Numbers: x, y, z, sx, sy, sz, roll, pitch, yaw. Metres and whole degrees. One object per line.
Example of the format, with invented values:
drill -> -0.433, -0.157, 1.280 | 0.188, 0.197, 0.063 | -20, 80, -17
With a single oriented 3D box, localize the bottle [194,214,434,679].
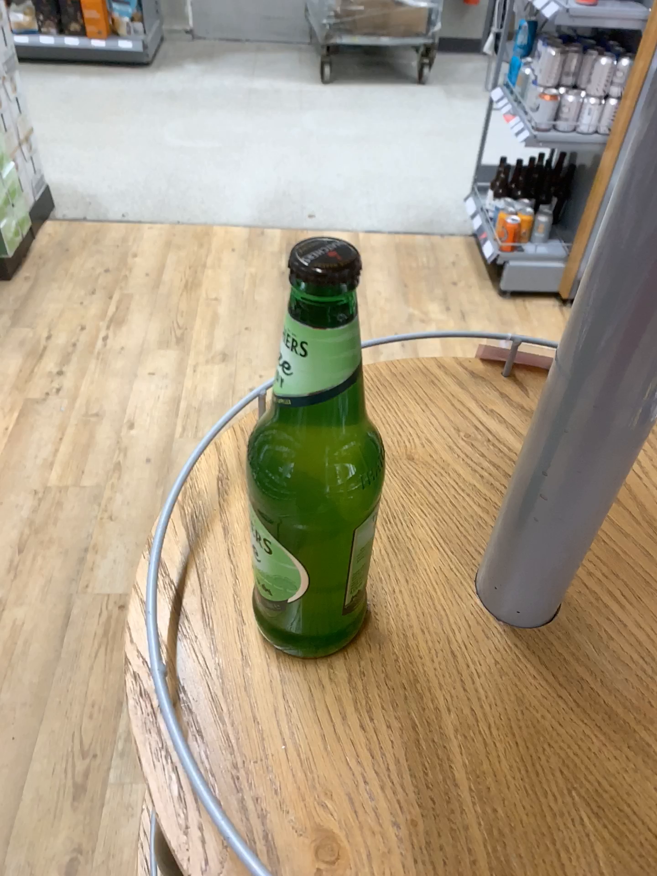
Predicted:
bottle -> -0.008, 0.023, 0.333 | 0.078, 0.240, 0.070 | 8, 44, 5
